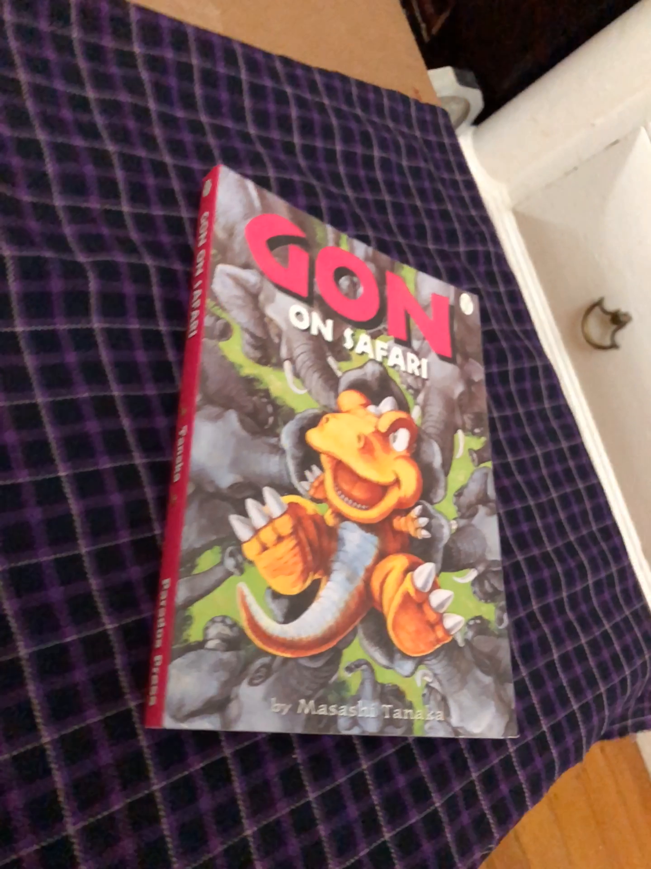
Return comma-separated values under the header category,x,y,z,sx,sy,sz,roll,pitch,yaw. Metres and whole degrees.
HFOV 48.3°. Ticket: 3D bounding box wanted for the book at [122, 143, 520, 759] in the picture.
category,x,y,z,sx,sy,sz,roll,pitch,yaw
book,0.011,0.009,0.281,0.151,0.020,0.210,19,61,-34
